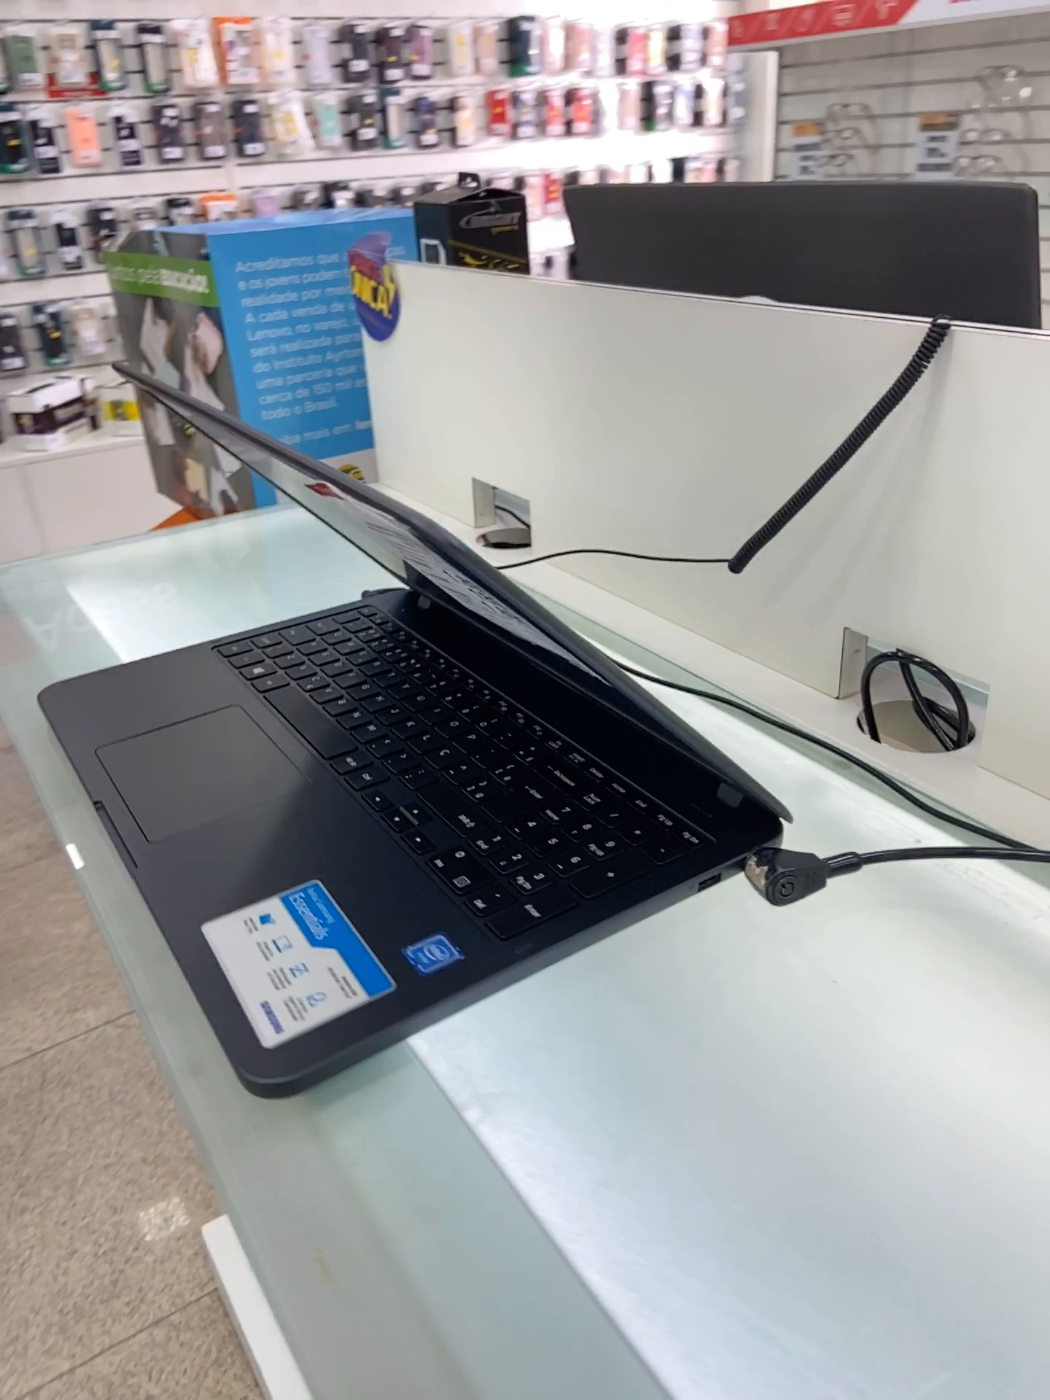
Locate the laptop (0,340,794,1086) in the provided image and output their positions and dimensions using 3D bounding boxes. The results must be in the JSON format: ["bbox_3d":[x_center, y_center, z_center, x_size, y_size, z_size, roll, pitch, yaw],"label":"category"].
[{"bbox_3d":[-0.096,-0.049,0.529,0.246,0.173,0.373,-19,31,-27],"label":"laptop"}]
